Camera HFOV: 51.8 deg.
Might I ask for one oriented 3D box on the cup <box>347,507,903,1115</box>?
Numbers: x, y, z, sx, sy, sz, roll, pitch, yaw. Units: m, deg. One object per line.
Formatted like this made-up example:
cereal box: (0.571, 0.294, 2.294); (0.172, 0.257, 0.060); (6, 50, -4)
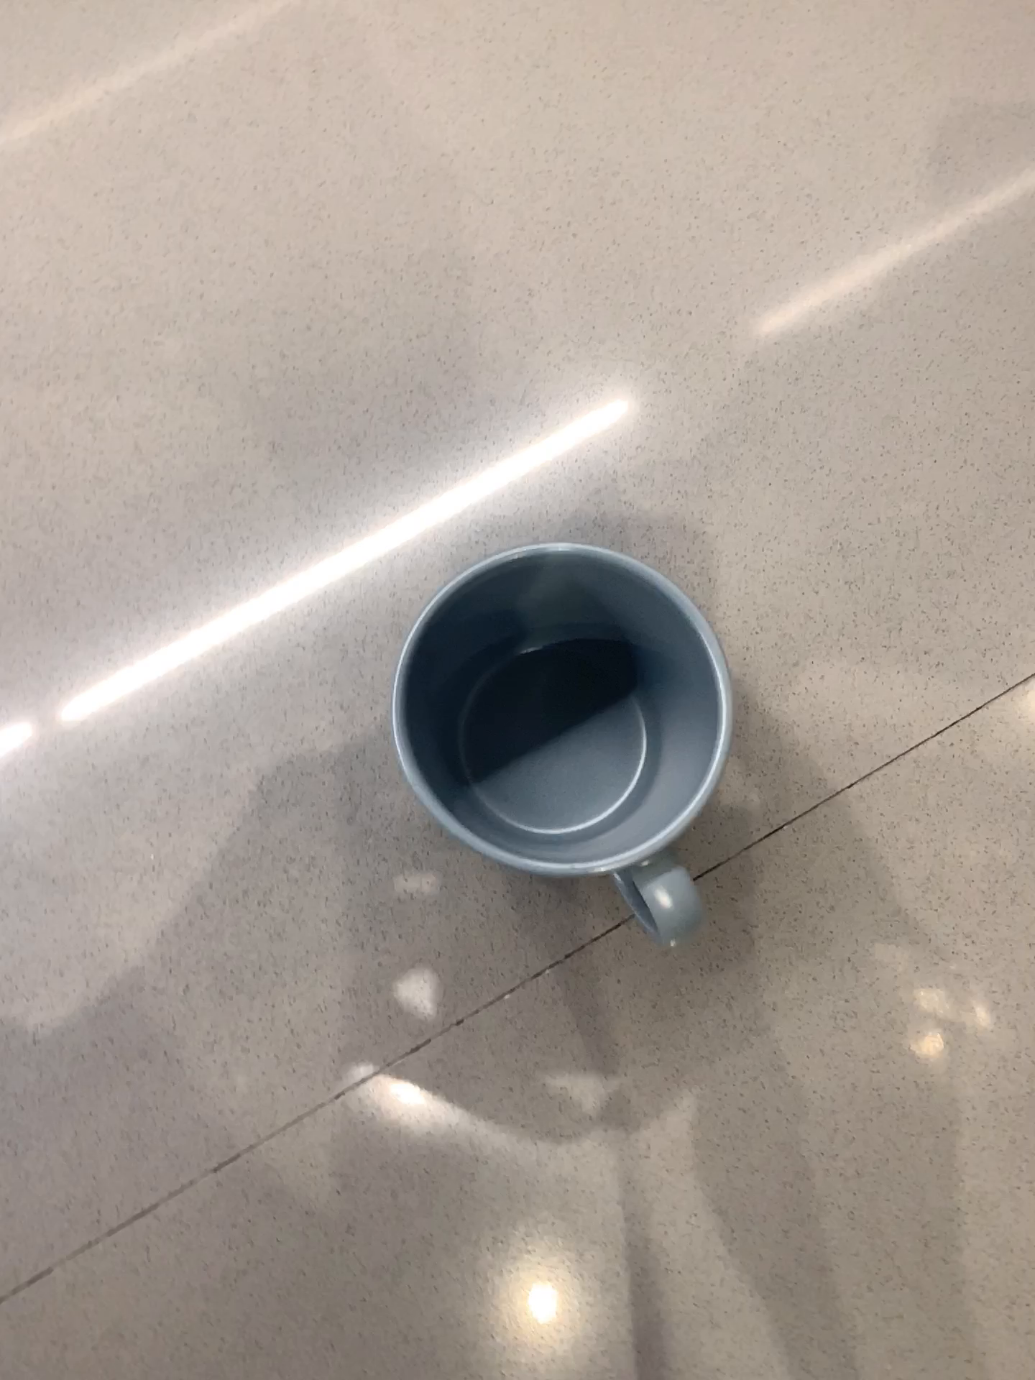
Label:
cup: (0.027, 0.035, 0.322); (0.090, 0.090, 0.130); (-30, 82, -5)
